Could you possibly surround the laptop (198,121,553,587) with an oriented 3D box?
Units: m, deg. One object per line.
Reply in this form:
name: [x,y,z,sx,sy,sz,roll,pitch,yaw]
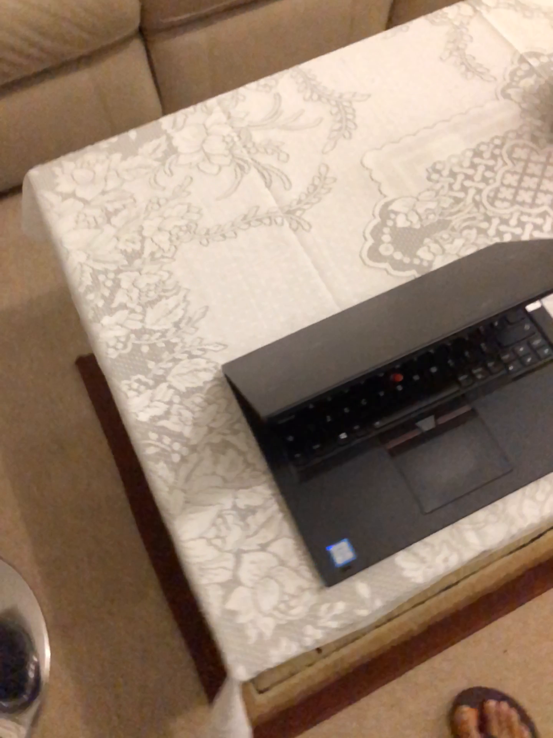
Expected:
laptop: [0.134,-0.005,0.497,0.309,0.174,0.220,-24,67,-7]
